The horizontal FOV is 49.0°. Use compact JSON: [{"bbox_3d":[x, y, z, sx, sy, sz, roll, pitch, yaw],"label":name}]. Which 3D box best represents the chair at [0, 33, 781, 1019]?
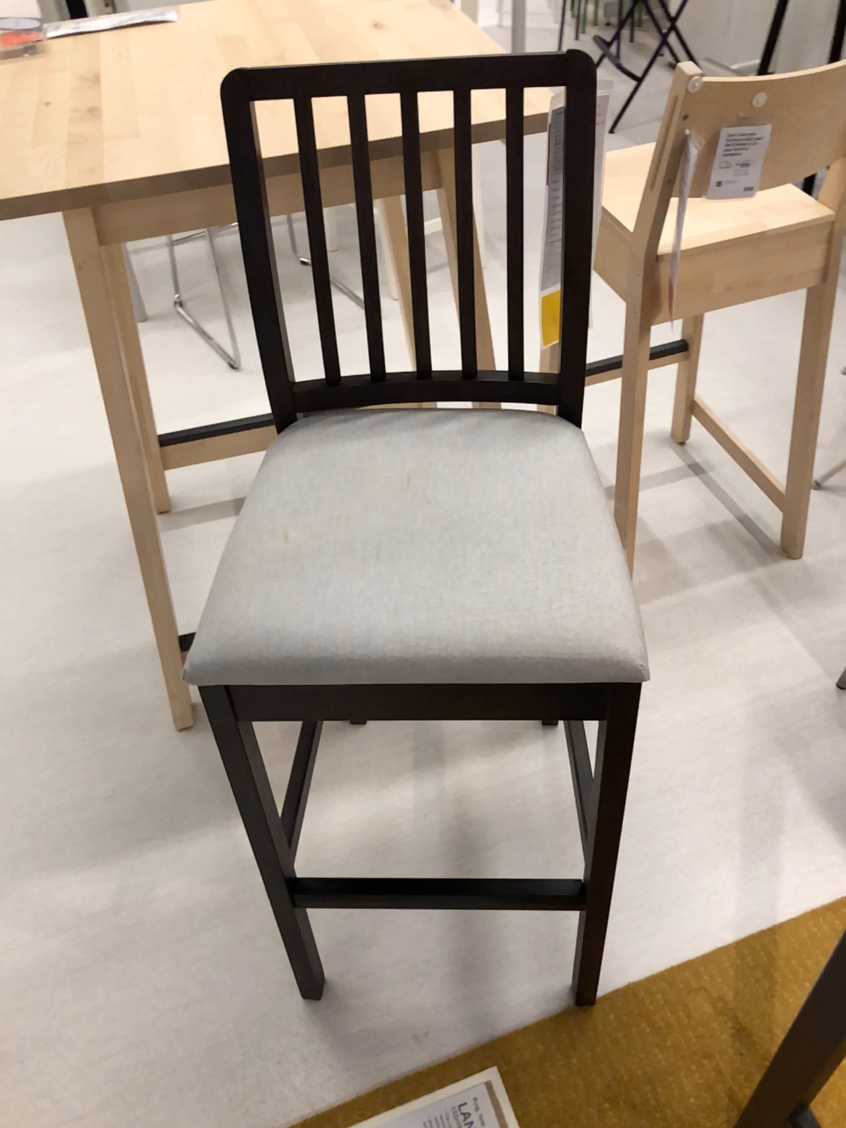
[{"bbox_3d":[0.013,0.055,1.136,0.480,1.093,0.564,-1,44,4],"label":"chair"}]
